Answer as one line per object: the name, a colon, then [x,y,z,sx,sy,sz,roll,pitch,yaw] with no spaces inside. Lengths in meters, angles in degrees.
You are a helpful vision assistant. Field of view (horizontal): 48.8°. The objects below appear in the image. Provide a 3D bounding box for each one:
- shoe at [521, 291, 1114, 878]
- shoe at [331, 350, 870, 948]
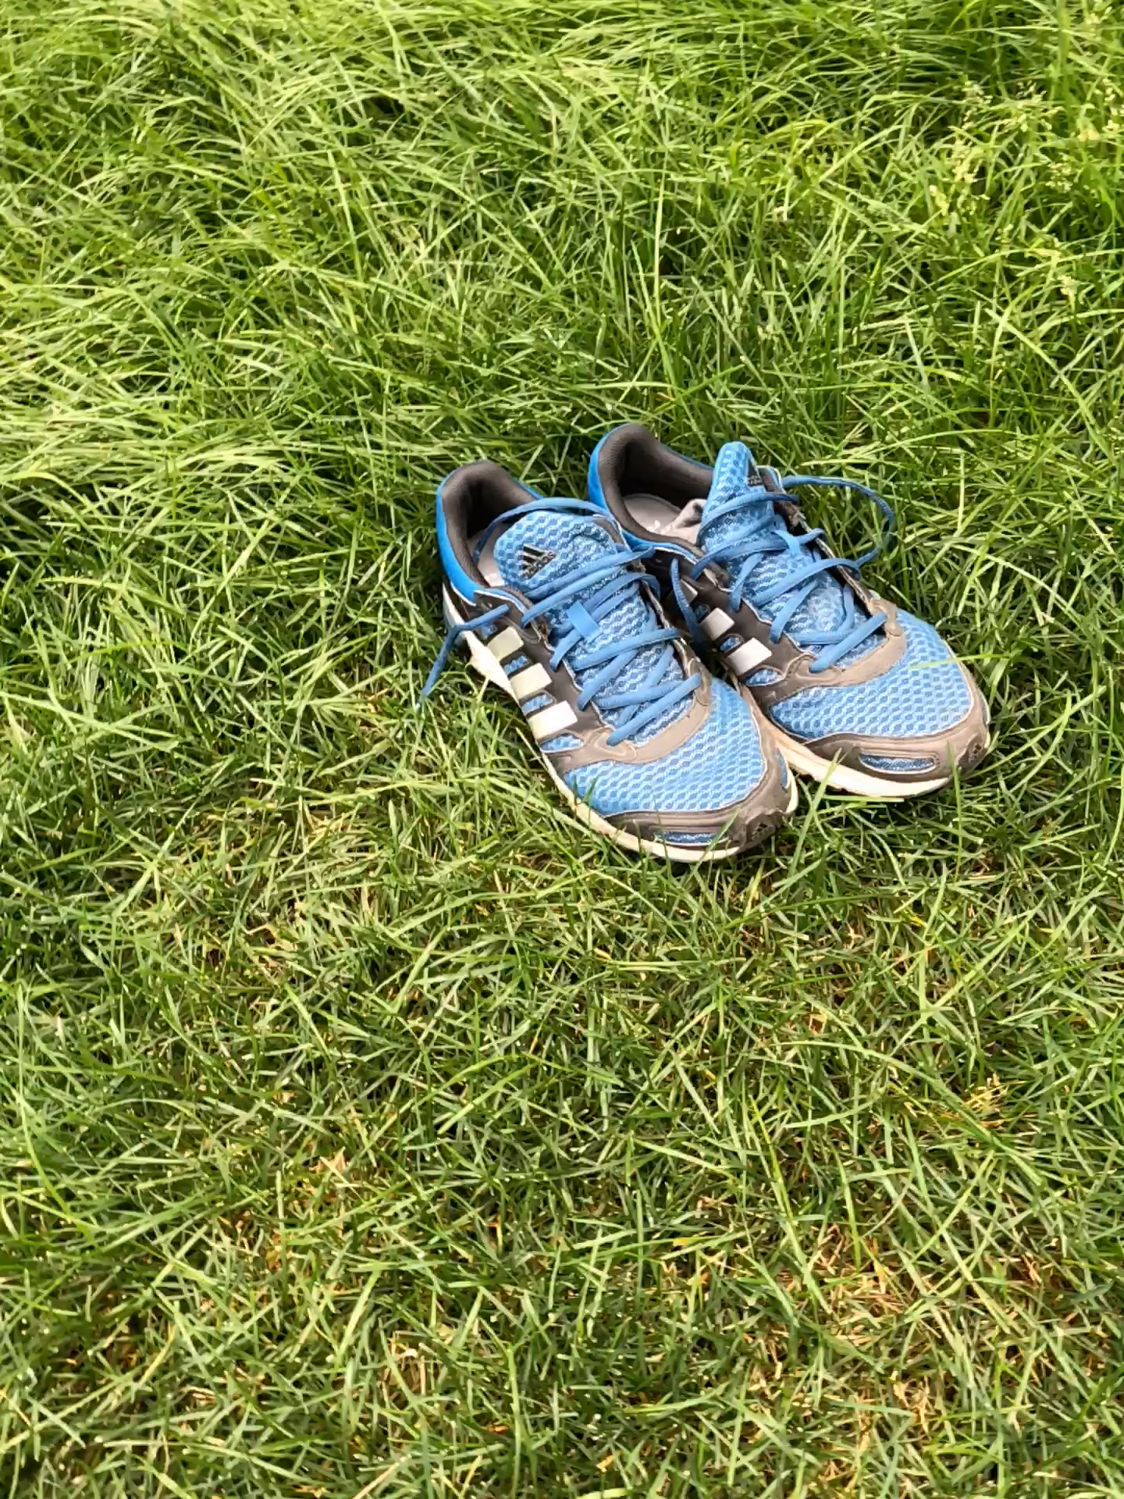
shoe: [0.120,-0.089,0.654,0.120,0.120,0.280,-39,68,-10]
shoe: [0.015,-0.053,0.642,0.120,0.120,0.270,-35,68,-9]
